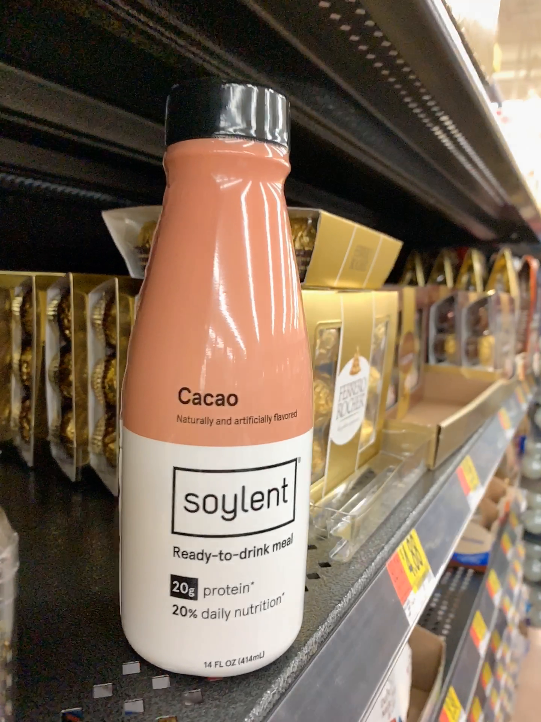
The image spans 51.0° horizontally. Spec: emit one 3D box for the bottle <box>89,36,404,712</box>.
[{"bbox_3d":[-0.016,0.007,0.200,0.080,0.190,0.070,3,8,-13],"label":"bottle"}]
